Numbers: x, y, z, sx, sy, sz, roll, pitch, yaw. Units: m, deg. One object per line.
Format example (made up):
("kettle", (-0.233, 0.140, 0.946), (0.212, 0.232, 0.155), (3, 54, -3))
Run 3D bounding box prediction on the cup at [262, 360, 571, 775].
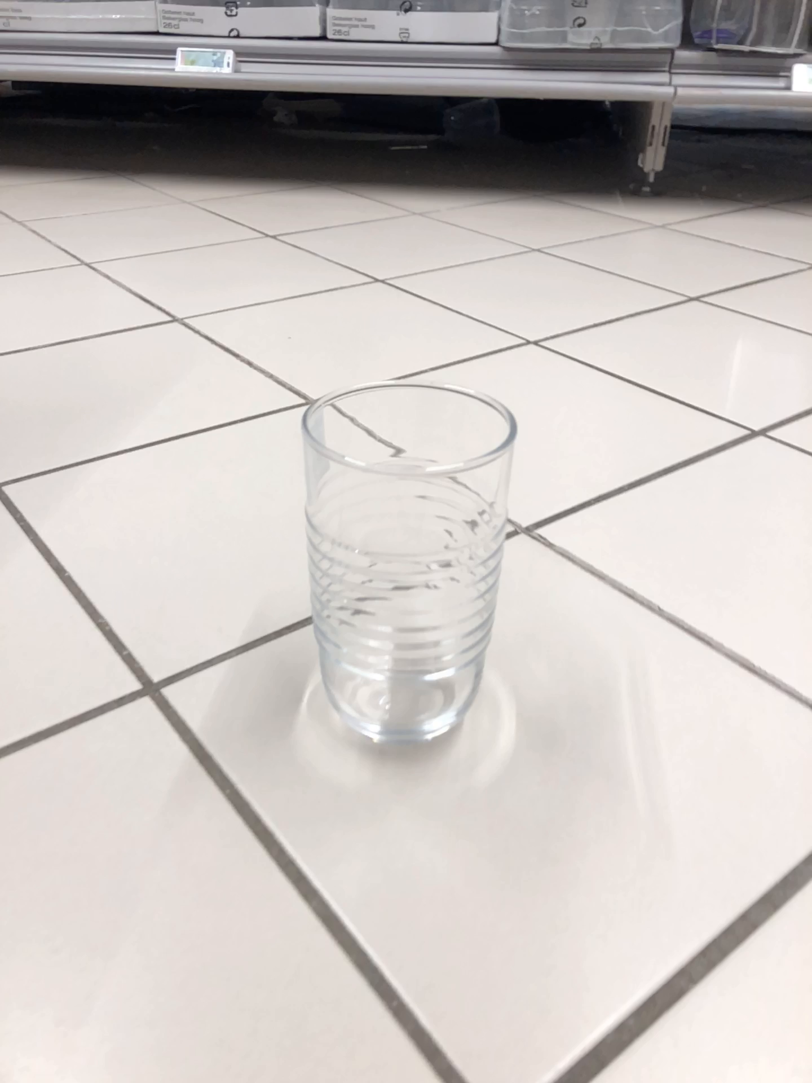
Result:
("cup", (-0.002, 0.005, 0.300), (0.077, 0.104, 0.079), (1, 31, -1))
